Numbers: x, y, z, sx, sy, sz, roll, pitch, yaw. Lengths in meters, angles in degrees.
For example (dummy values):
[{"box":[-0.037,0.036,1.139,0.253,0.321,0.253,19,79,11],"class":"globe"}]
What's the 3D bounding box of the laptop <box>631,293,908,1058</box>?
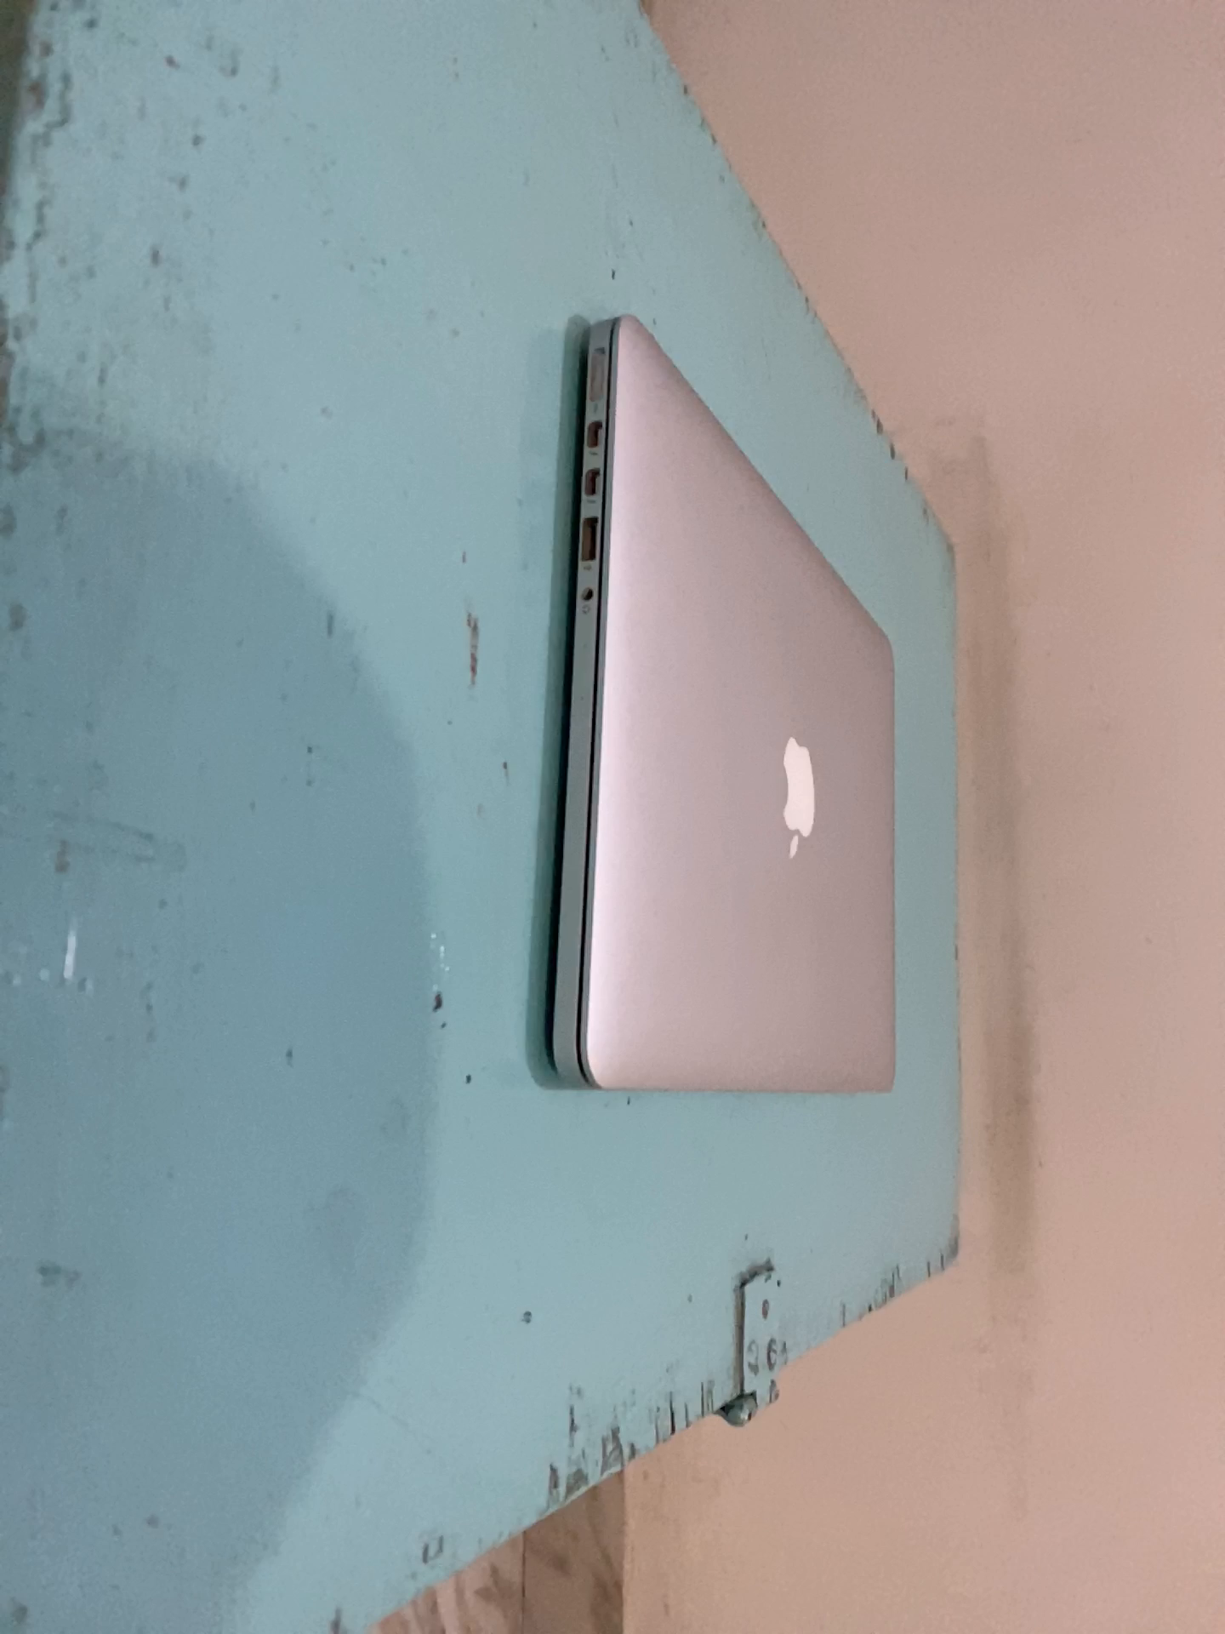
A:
[{"box":[0.070,-0.020,0.459,0.293,0.007,0.209,21,66,-63],"class":"laptop"}]
